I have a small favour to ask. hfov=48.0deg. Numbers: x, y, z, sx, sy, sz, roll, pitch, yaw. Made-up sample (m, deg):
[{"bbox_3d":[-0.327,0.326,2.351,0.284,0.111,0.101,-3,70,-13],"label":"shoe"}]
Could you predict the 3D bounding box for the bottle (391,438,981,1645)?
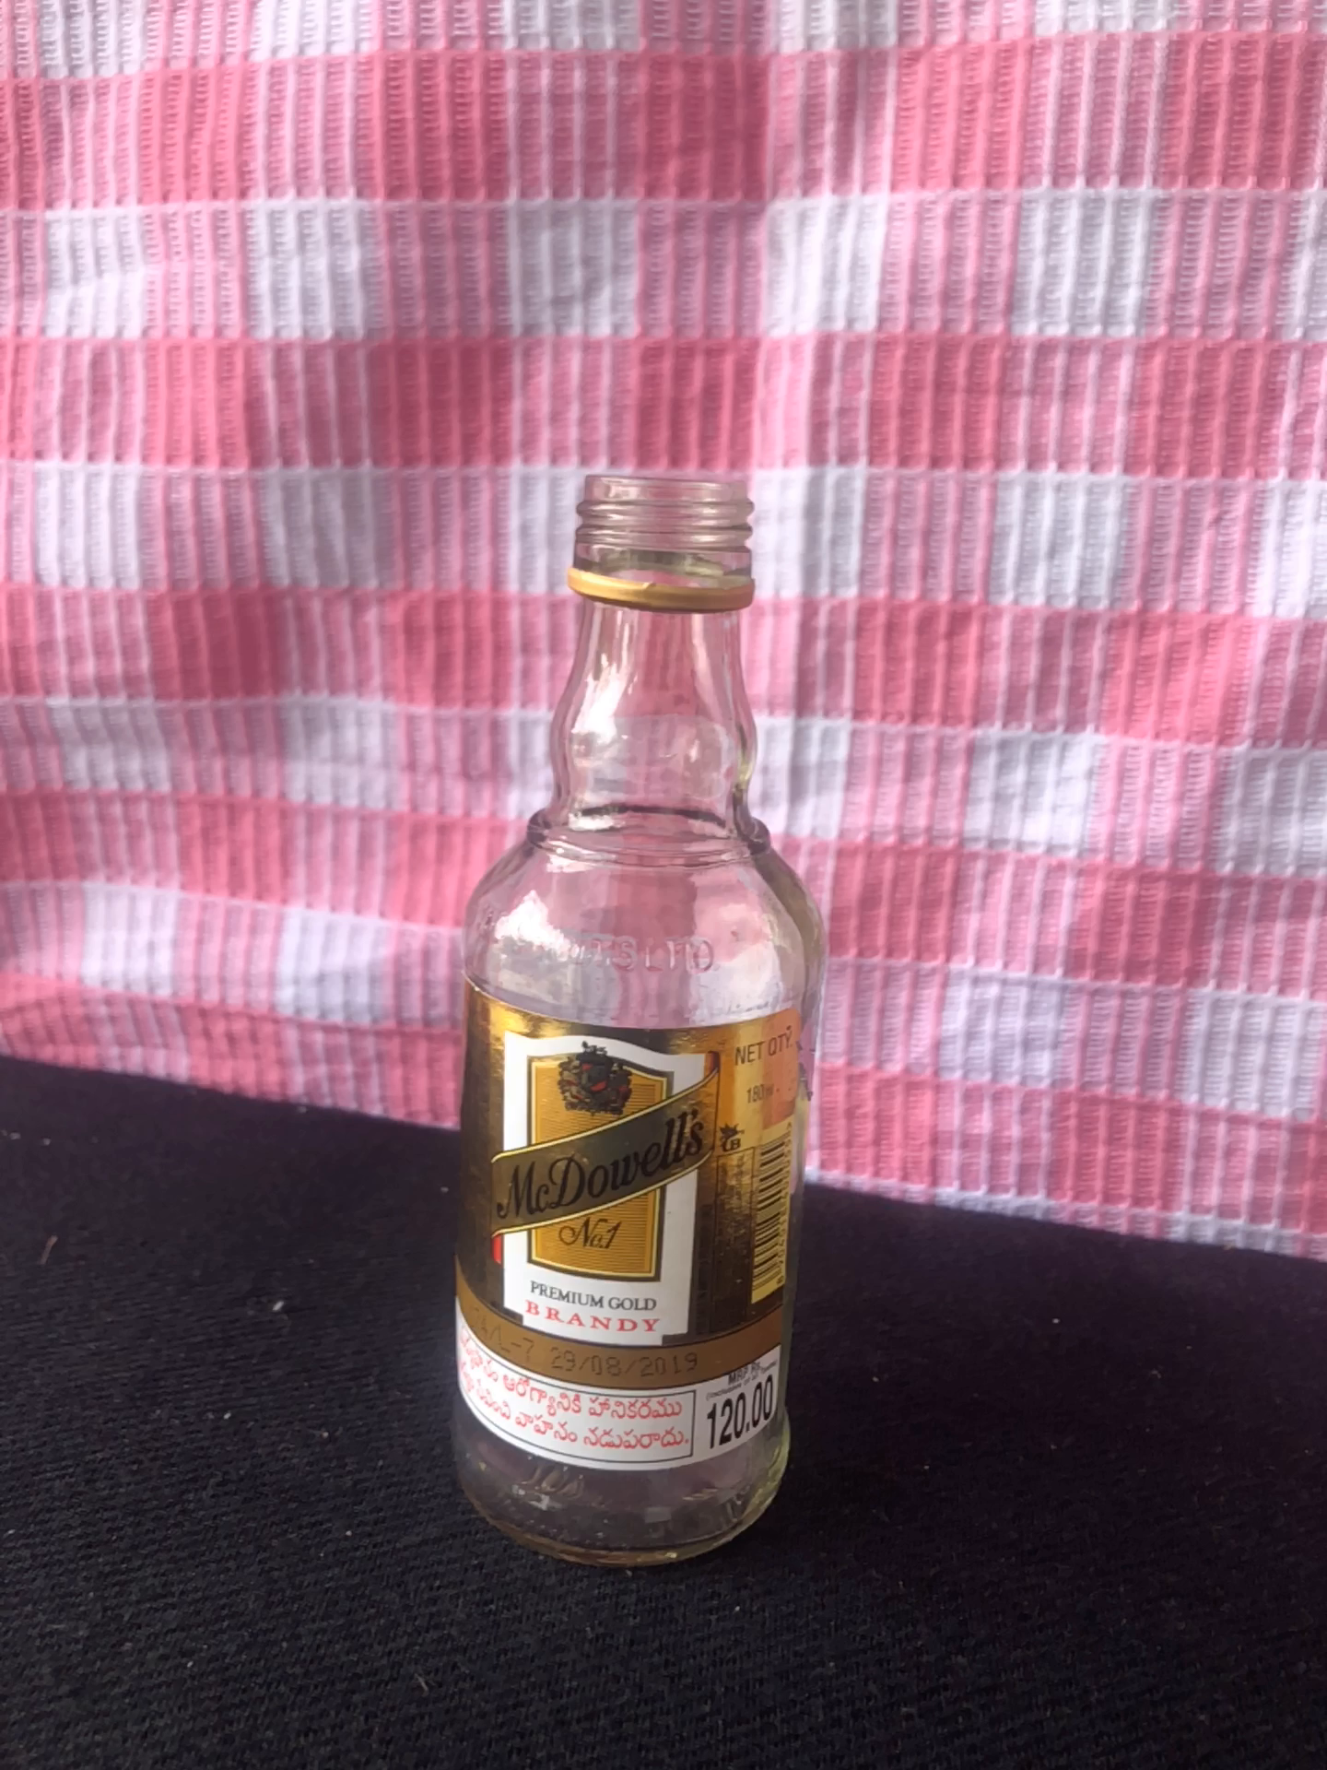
[{"bbox_3d":[0.002,0.018,0.207,0.060,0.149,0.050,9,17,15],"label":"bottle"}]
